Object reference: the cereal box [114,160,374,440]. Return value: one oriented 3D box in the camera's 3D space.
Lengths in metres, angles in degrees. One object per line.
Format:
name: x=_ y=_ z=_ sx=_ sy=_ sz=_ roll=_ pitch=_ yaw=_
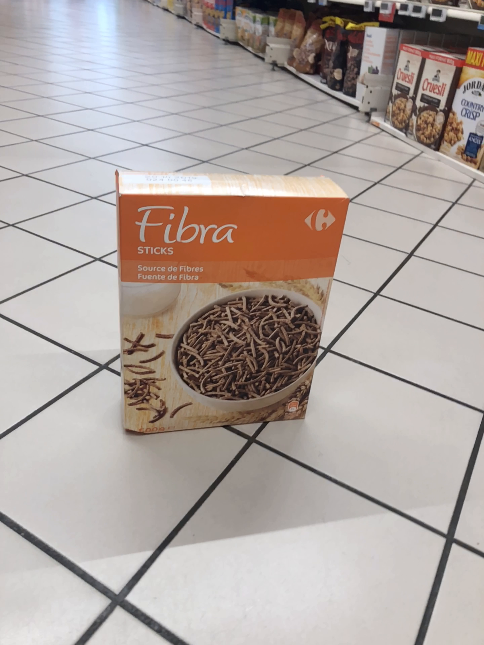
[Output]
cereal box: x=-0.012 y=-0.016 z=0.495 sx=0.200 sy=0.239 sz=0.080 roll=-2 pitch=32 yaw=-14
